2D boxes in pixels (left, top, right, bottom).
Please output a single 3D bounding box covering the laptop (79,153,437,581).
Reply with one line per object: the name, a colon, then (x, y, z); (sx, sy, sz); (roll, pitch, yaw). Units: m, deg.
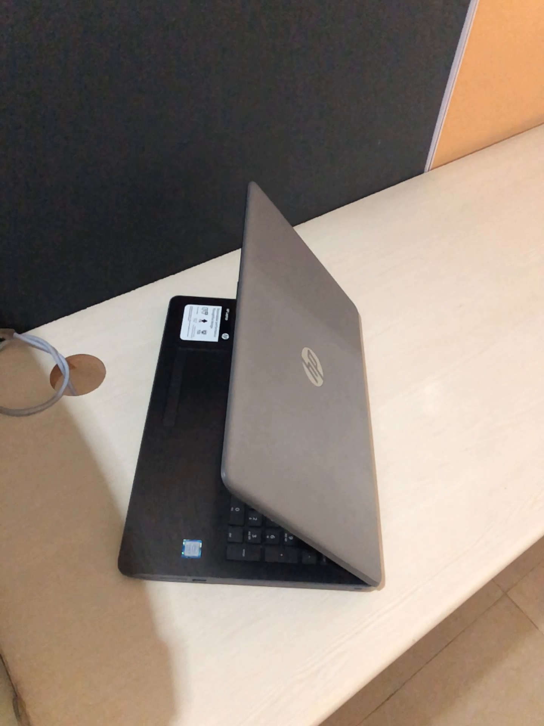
laptop: (-0.009, -0.005, 0.602); (0.246, 0.204, 0.363); (4, 51, -3)
